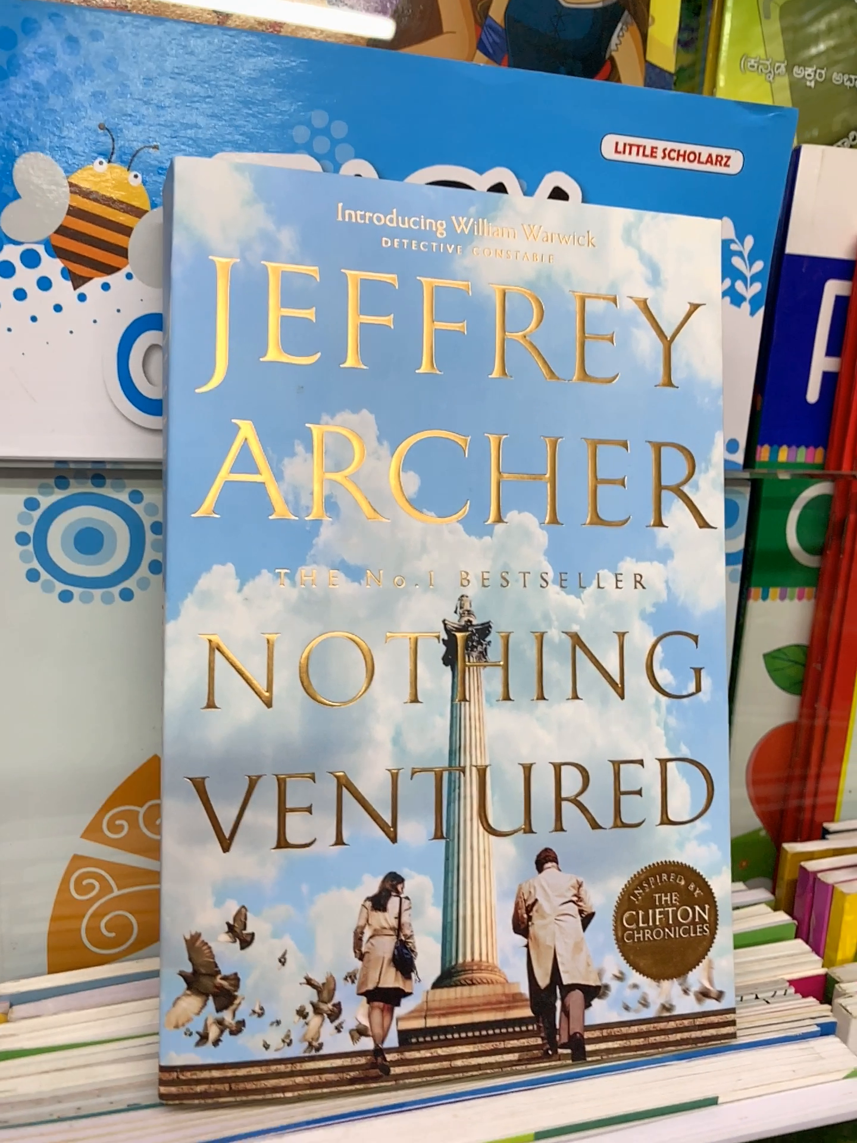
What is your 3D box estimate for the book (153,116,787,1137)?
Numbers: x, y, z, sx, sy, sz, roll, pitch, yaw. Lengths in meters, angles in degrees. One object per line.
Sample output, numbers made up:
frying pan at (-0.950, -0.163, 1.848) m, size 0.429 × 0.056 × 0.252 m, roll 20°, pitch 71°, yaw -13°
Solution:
book at (0.010, 0.008, 0.197) m, size 0.130 × 0.190 × 0.030 m, roll 0°, pitch -3°, yaw -13°
